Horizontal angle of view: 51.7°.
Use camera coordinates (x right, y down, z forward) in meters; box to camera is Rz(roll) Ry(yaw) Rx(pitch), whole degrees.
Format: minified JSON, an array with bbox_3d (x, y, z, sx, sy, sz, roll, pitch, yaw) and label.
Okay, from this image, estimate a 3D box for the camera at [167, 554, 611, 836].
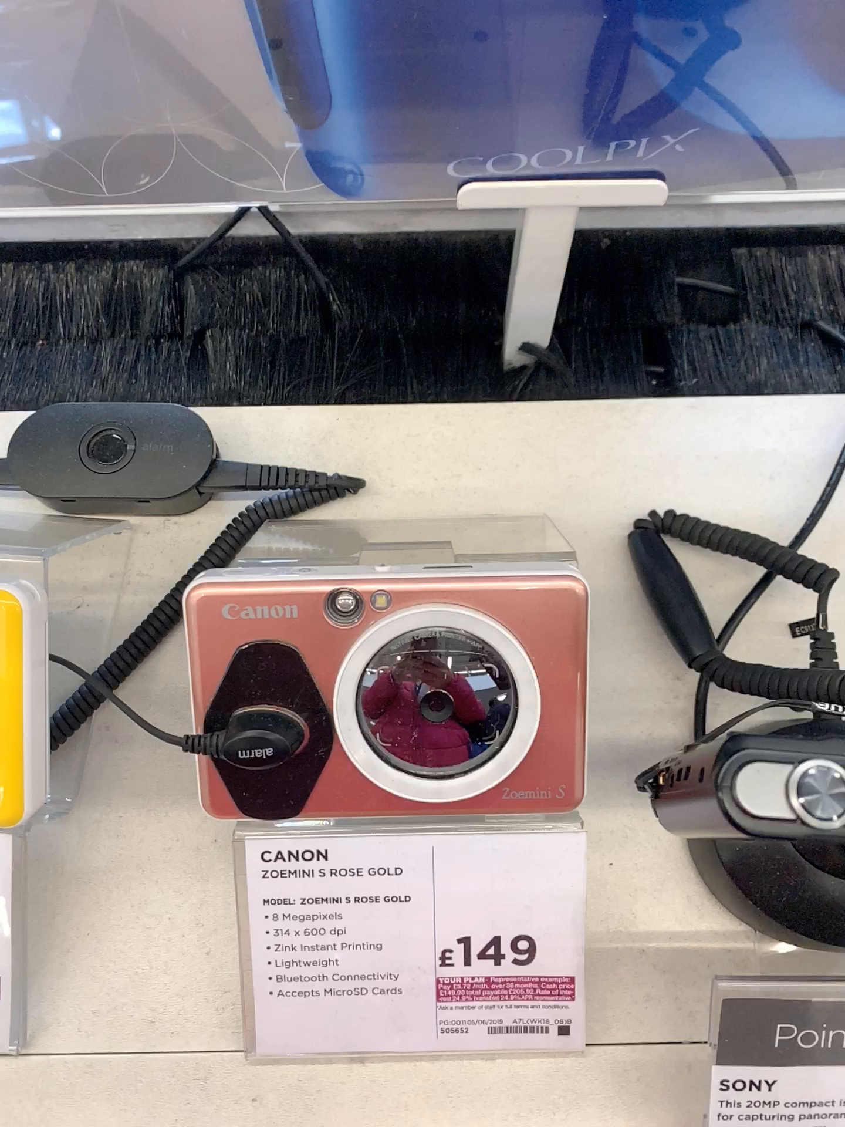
[{"bbox_3d":[-0.009,0.041,0.271,0.129,0.020,0.083,-1,103,0],"label":"camera"}]
